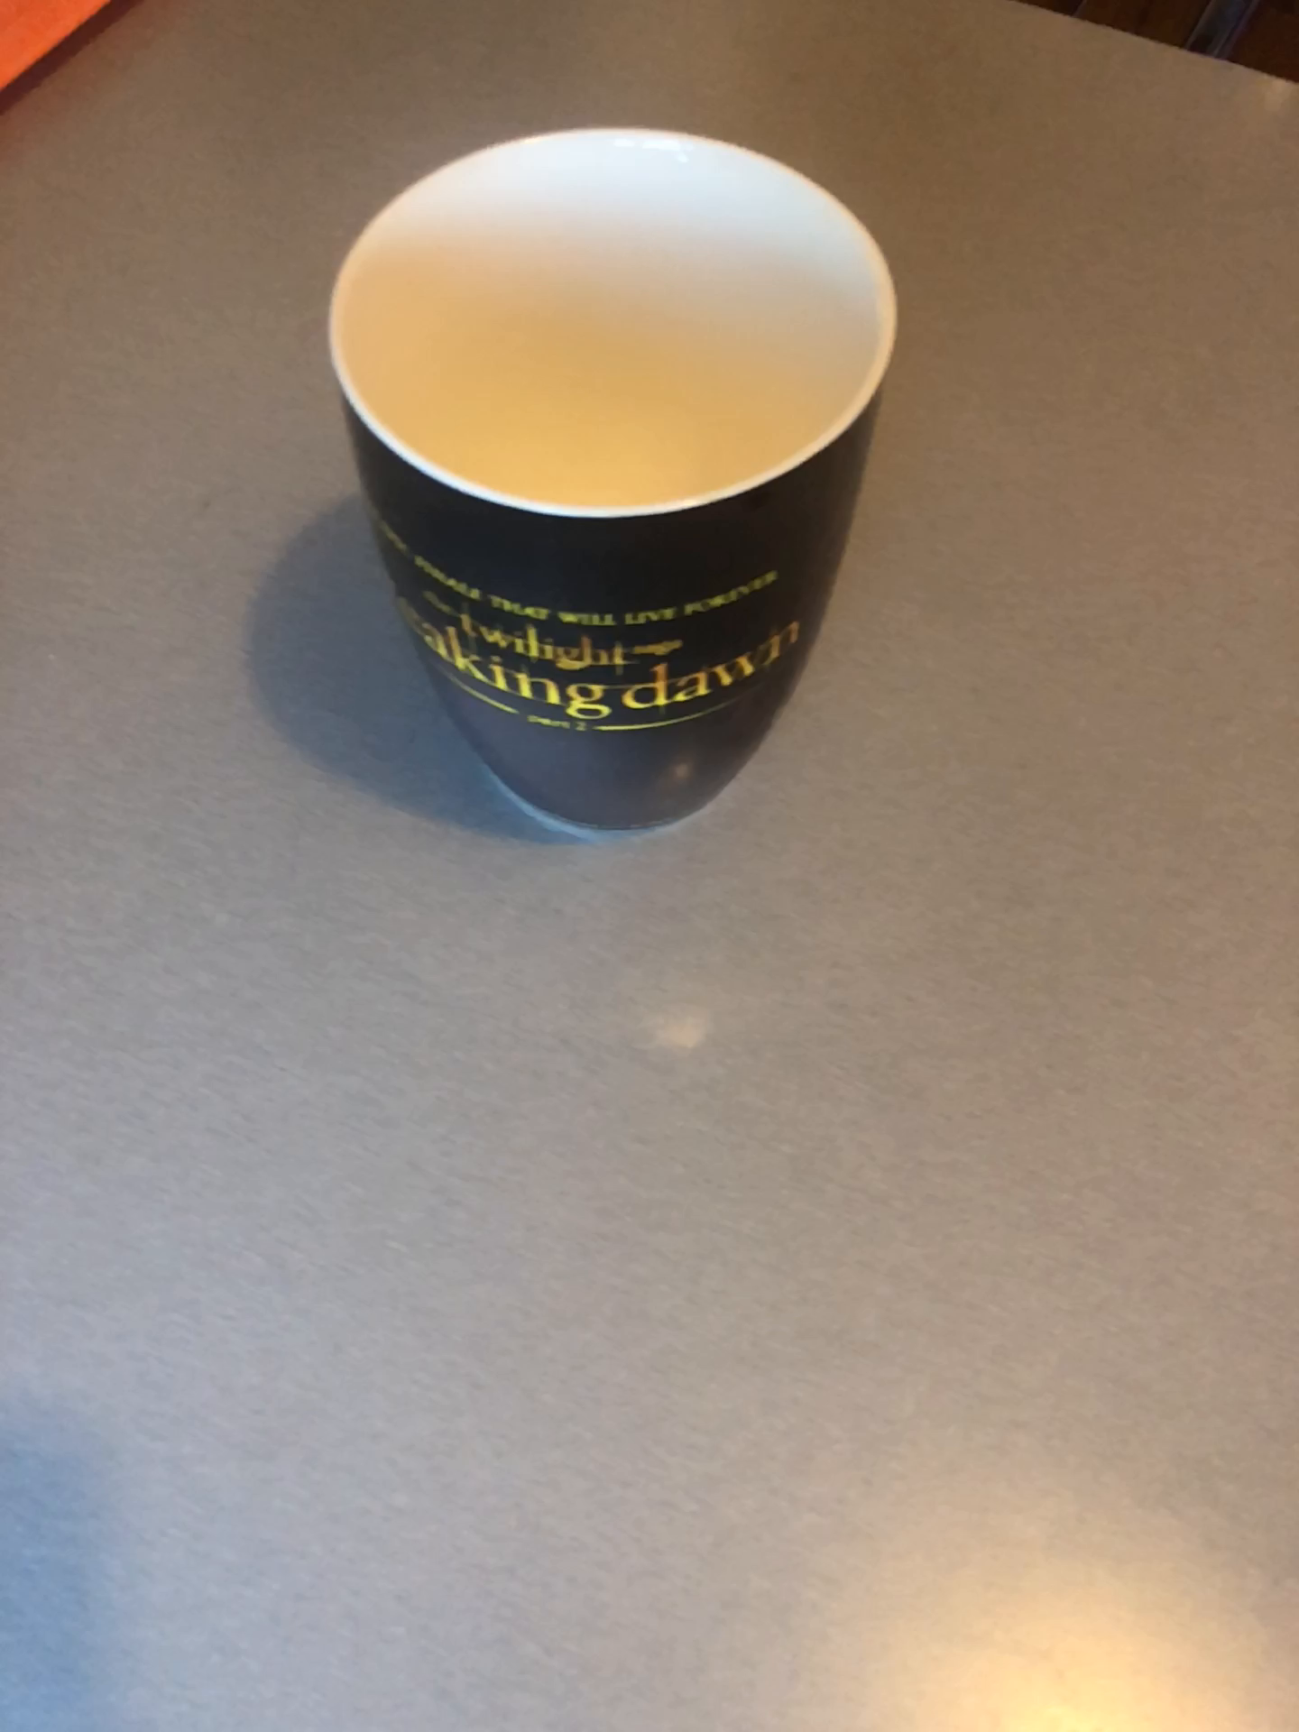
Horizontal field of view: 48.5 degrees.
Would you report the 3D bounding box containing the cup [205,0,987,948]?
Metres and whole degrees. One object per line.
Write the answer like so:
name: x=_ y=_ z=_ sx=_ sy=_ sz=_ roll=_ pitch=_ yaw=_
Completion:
cup: x=-0.001 y=-0.074 z=0.271 sx=0.090 sy=0.100 sz=0.130 roll=13 pitch=62 yaw=8
